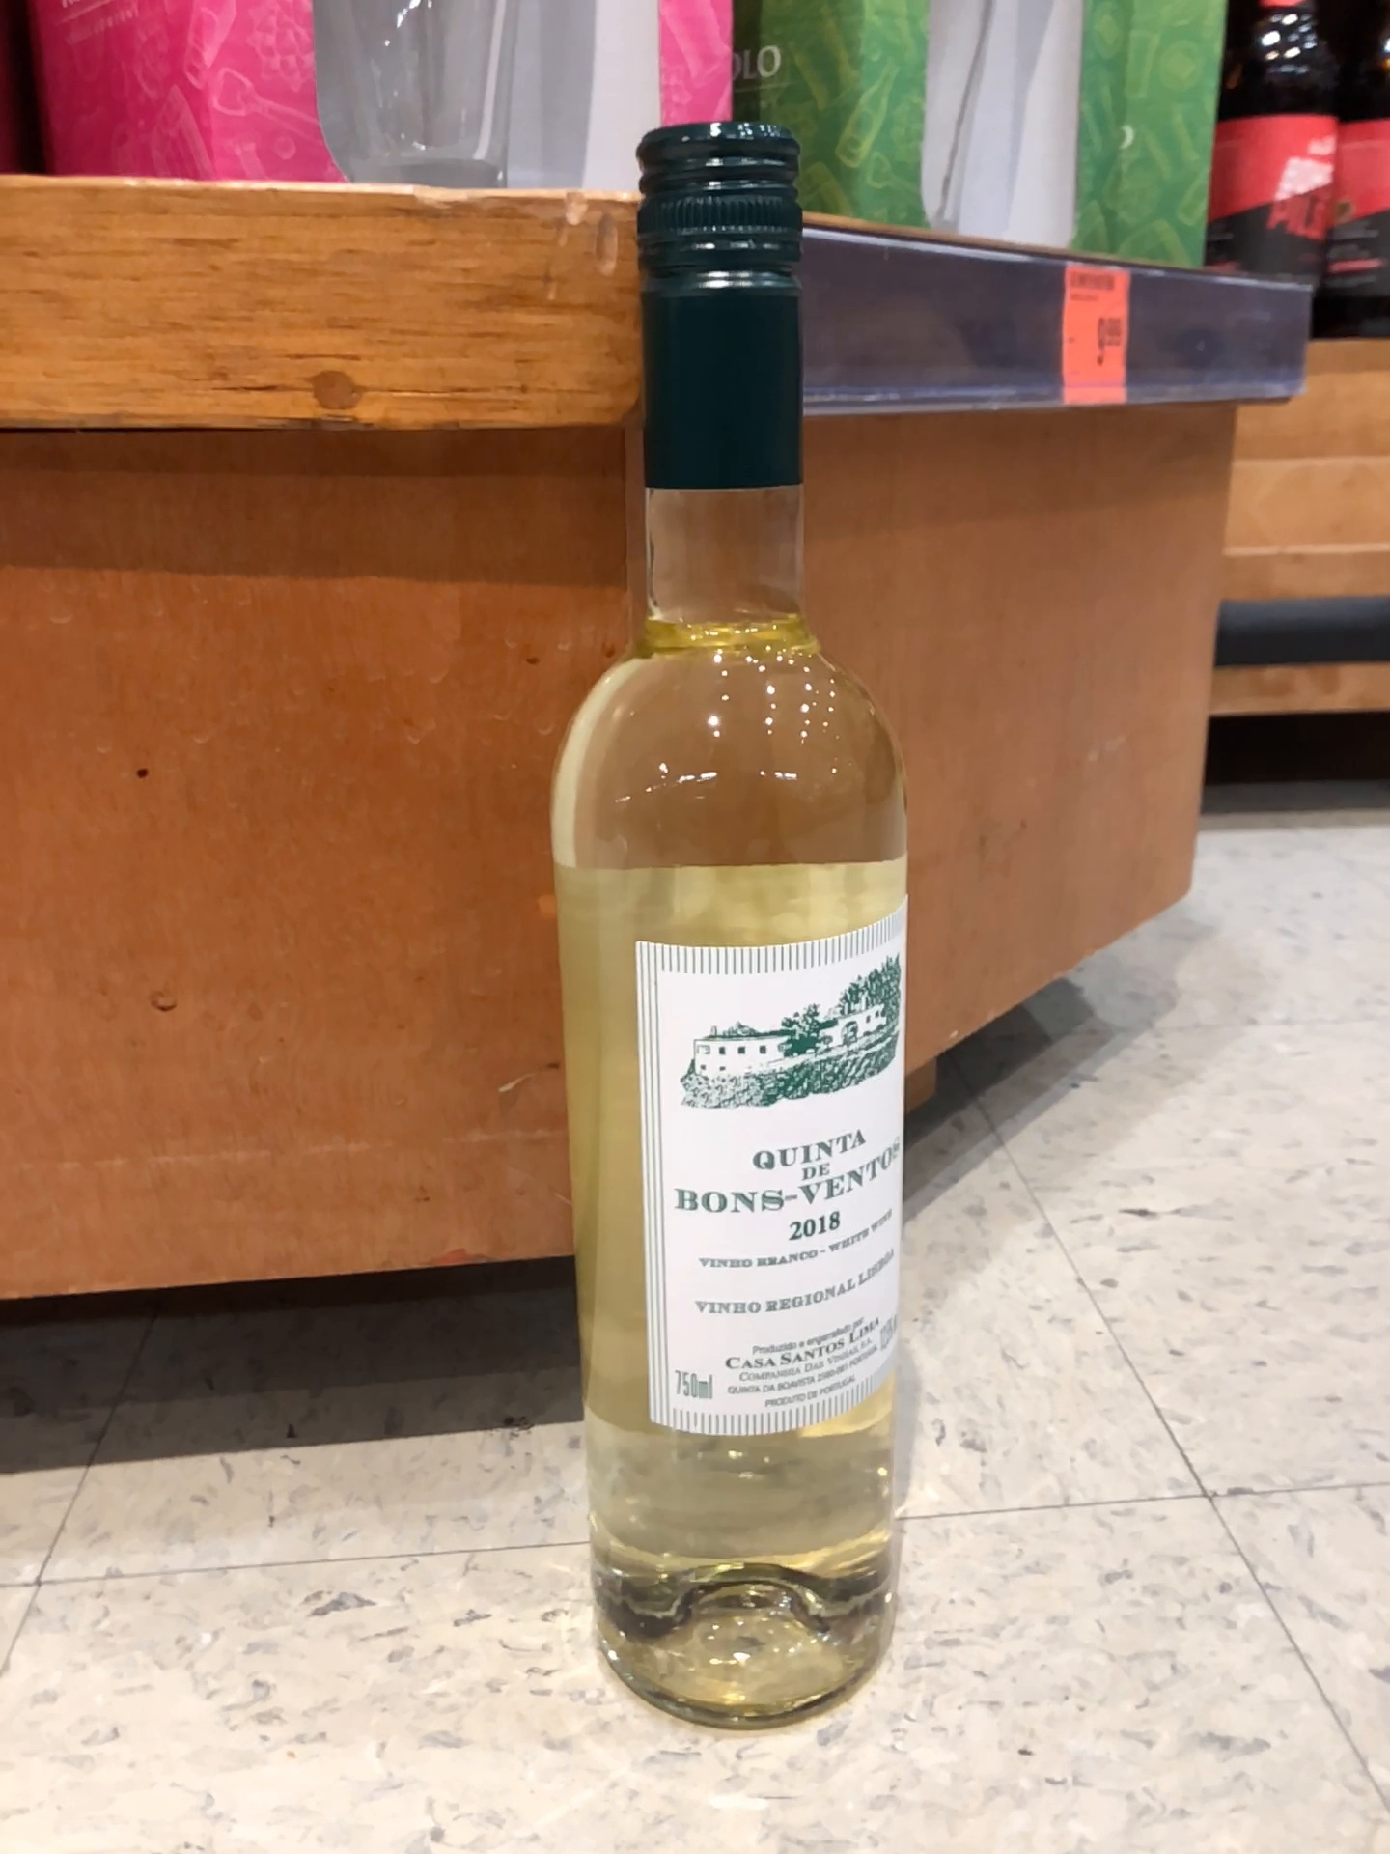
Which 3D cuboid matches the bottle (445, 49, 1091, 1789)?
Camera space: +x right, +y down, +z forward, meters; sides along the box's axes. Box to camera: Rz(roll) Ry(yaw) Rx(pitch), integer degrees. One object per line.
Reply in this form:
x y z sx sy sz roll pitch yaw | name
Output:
0.012 0.008 0.311 0.080 0.308 0.080 -1 18 0 | bottle
